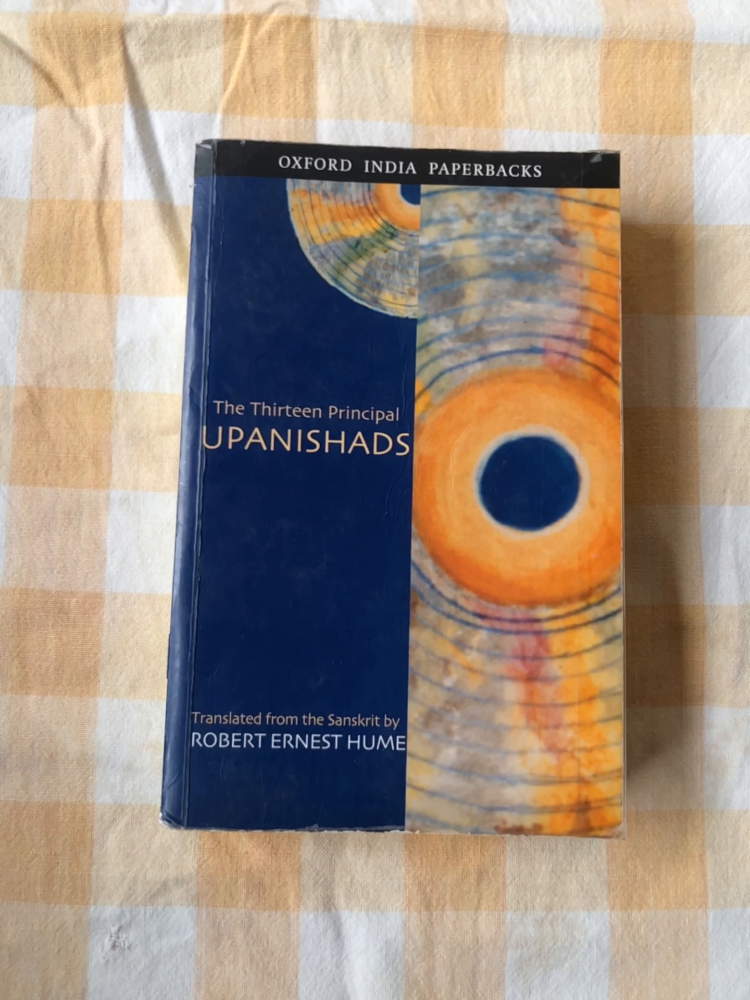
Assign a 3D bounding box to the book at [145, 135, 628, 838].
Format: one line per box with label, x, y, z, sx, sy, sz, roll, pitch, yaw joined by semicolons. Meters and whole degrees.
book;0.006;-0.005;0.272;0.140;0.040;0.210;1;85;-2
